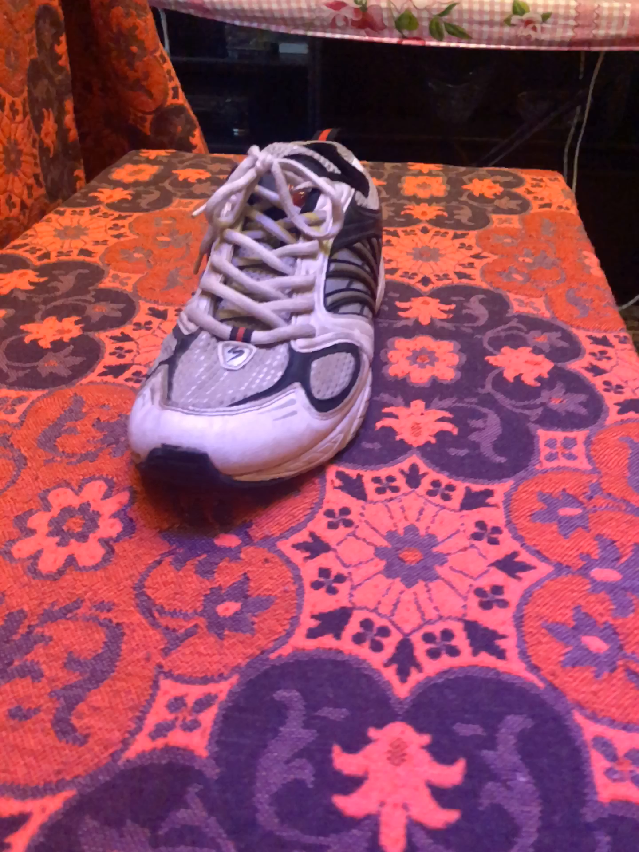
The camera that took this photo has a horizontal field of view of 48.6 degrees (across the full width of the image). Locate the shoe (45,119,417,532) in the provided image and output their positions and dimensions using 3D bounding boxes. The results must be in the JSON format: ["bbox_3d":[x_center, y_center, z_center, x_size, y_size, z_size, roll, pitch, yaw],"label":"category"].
[{"bbox_3d":[-0.015,-0.087,0.395,0.120,0.090,0.312,4,36,7],"label":"shoe"}]
